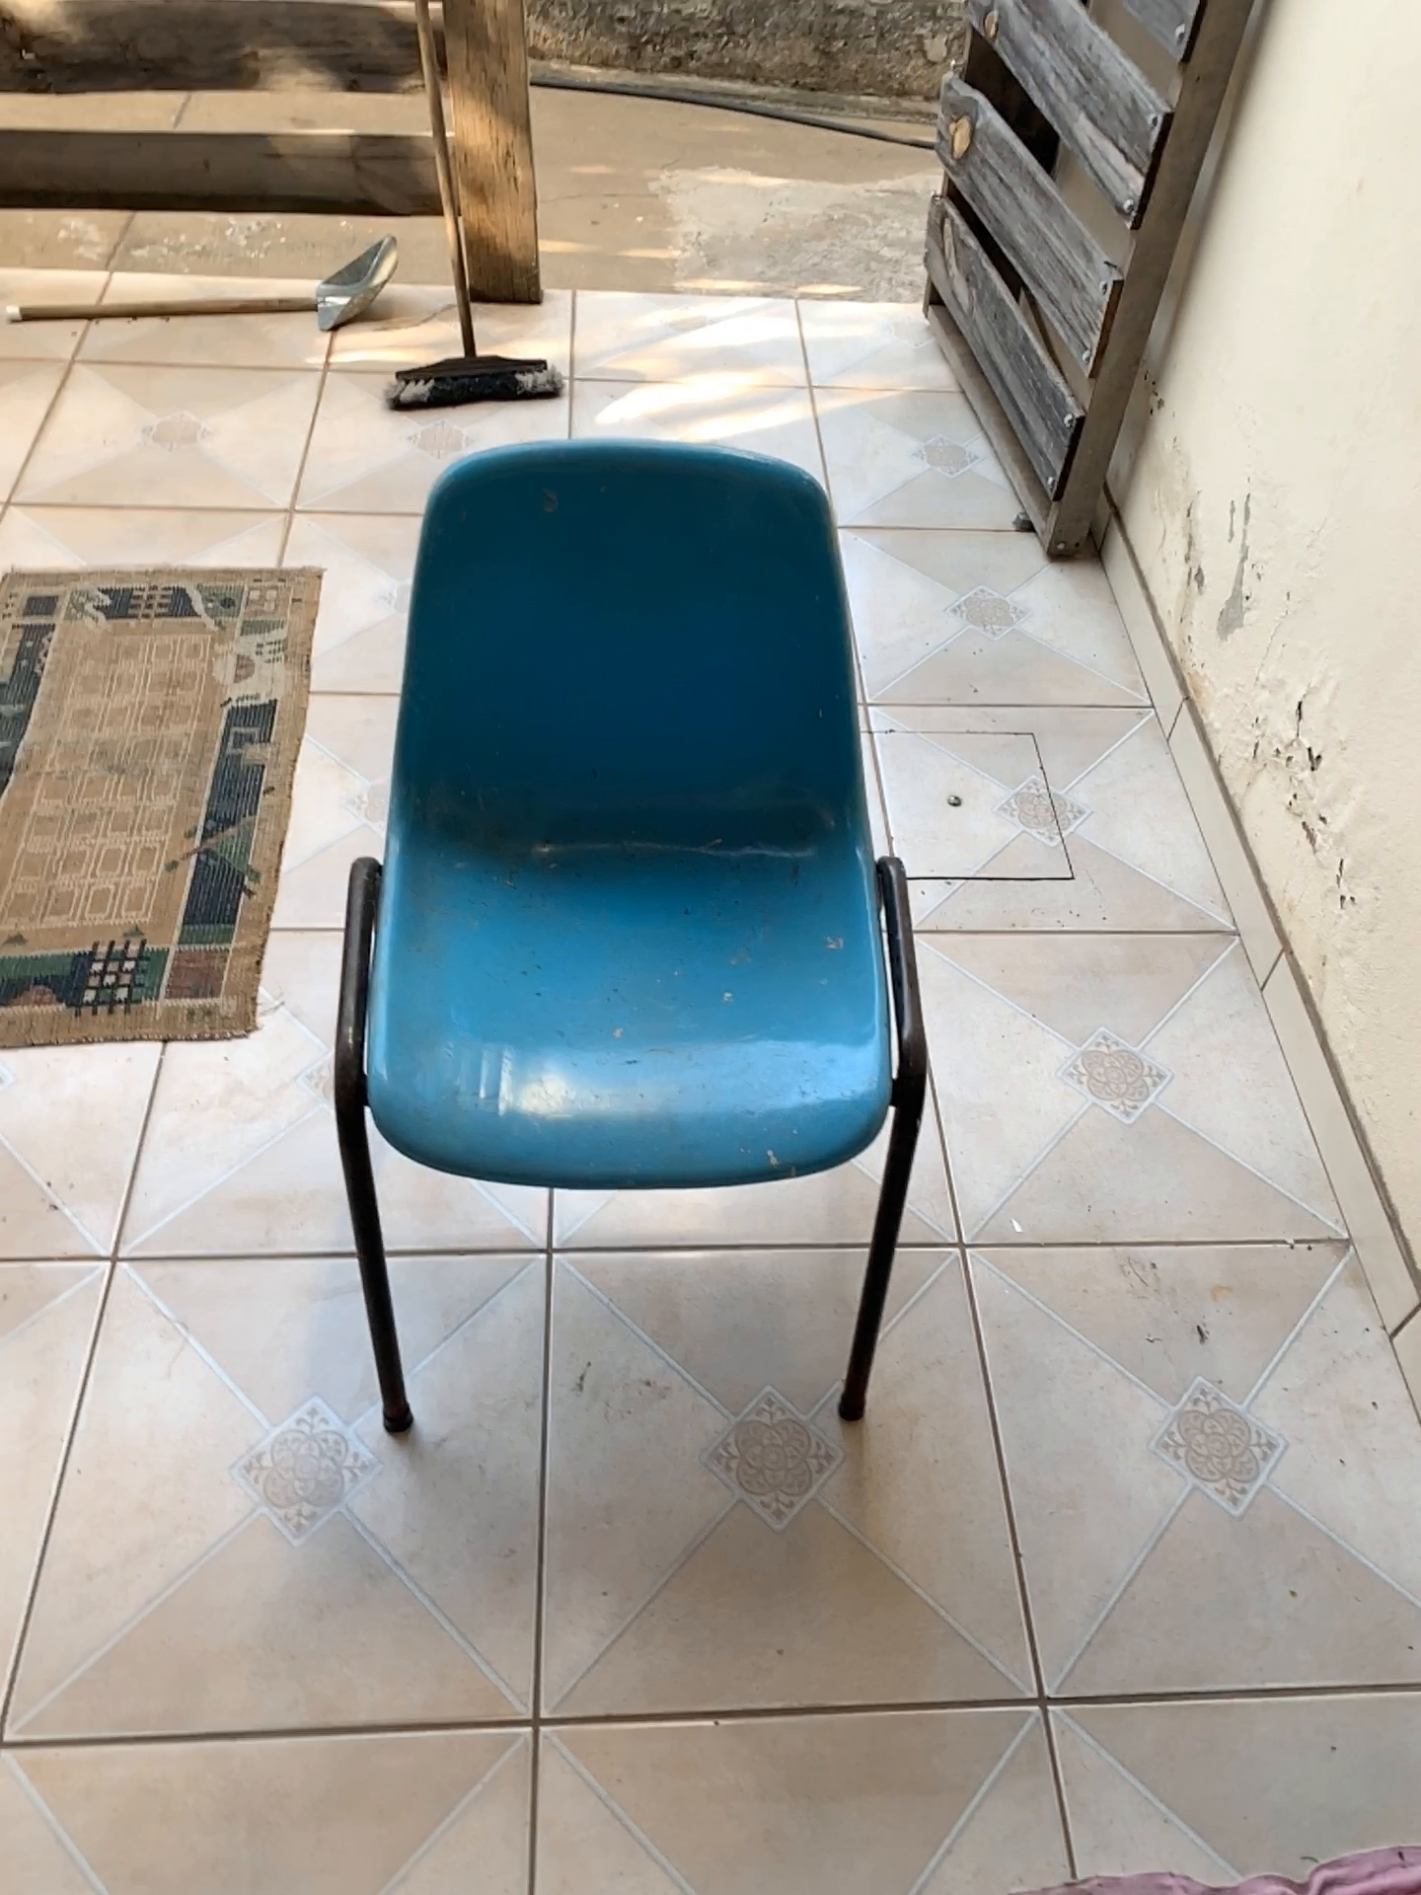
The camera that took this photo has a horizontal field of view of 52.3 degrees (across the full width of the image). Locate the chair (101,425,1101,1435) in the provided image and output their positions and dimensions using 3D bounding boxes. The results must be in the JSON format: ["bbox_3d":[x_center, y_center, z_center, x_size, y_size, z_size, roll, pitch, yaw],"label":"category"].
[{"bbox_3d":[-0.080,0.016,1.232,0.550,0.687,0.532,-1,51,-3],"label":"chair"}]
